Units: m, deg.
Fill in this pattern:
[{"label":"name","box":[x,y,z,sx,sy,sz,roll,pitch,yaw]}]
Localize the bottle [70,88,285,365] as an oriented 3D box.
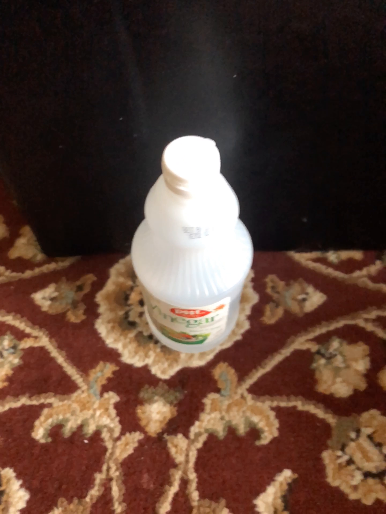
[{"label":"bottle","box":[-0.003,-0.001,0.326,0.100,0.220,0.090,8,61,5]}]
